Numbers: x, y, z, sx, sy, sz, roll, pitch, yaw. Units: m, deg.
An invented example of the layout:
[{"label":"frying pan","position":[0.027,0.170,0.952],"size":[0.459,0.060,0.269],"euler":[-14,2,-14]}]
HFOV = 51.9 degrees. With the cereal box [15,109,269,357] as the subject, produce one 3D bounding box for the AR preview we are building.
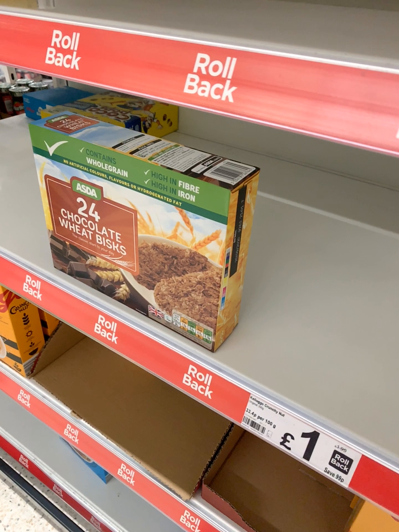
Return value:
[{"label":"cereal box","position":[-0.066,-0.043,0.434],"size":[0.251,0.178,0.070],"euler":[24,41,26]}]
